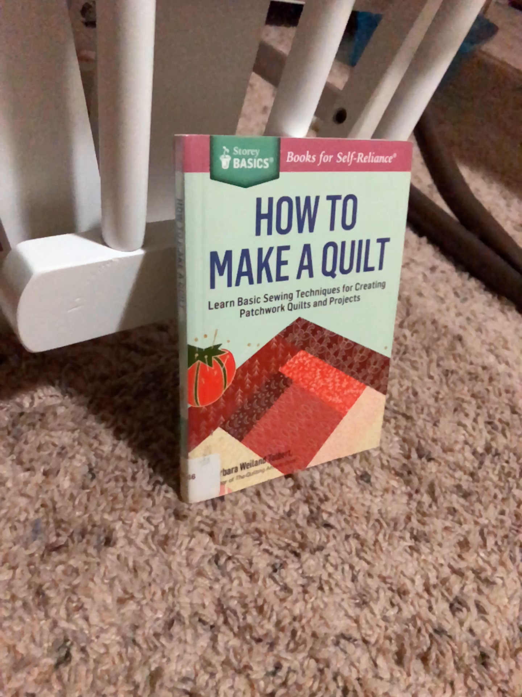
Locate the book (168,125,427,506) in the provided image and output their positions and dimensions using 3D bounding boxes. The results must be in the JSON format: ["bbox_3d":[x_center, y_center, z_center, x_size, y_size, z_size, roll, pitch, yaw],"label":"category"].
[{"bbox_3d":[0.019,-0.018,0.290,0.130,0.168,0.020,-10,22,-31],"label":"book"}]
